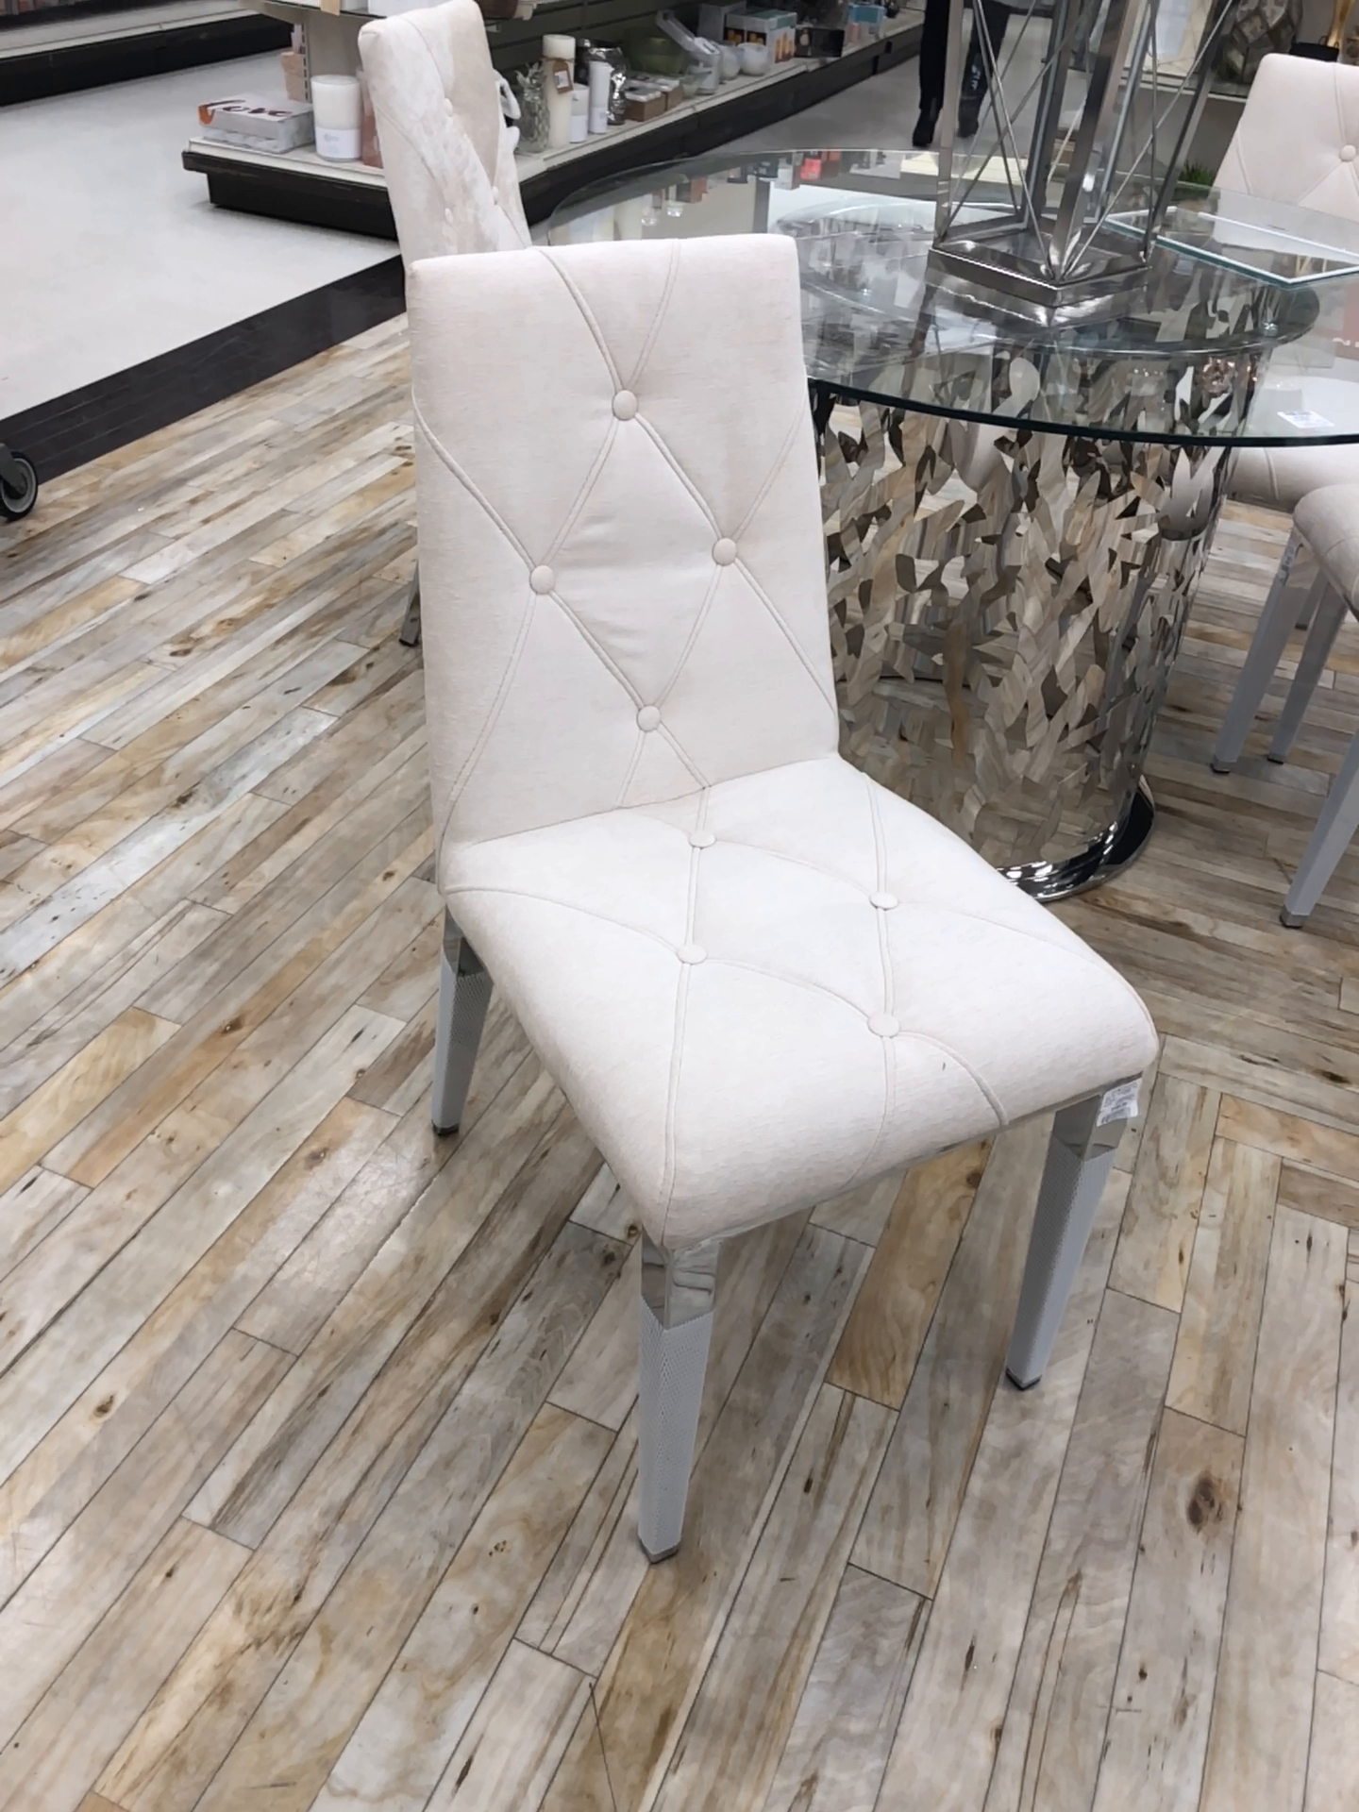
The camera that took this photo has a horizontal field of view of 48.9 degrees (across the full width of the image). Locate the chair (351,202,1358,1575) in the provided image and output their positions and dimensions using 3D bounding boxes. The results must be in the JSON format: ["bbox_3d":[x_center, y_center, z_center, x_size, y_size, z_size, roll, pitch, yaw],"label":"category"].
[{"bbox_3d":[0.071,-0.025,1.232,0.470,0.886,0.572,-14,41,-23],"label":"chair"}]
